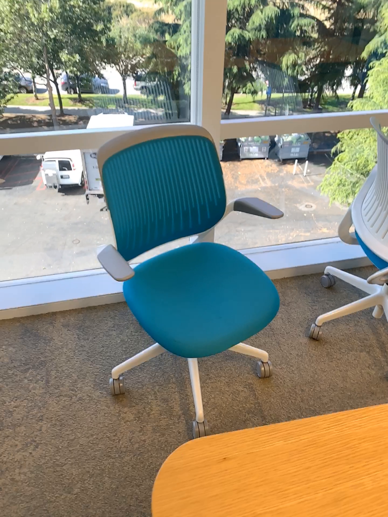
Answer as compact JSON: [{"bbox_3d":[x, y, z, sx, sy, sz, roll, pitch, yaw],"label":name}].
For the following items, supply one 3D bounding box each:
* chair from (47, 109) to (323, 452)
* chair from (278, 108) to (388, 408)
[{"bbox_3d":[-0.104,0.061,1.820,0.730,1.133,0.875,-16,41,-21],"label":"chair"},{"bbox_3d":[0.866,-0.002,1.690,0.640,1.014,0.654,-9,39,-13],"label":"chair"}]
